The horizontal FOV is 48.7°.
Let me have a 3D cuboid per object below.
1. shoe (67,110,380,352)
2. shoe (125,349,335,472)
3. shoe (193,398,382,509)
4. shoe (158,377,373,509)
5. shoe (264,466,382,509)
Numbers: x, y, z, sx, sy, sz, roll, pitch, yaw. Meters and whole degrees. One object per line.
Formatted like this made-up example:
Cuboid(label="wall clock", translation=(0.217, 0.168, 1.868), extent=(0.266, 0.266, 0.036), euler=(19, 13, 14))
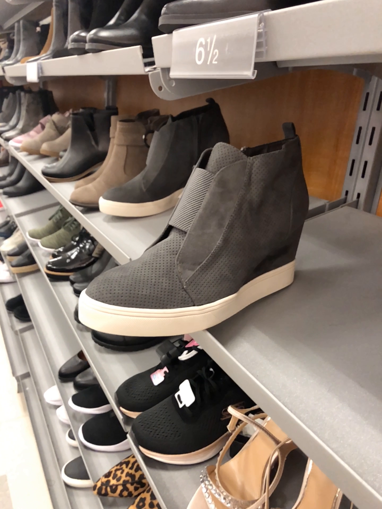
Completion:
Cuboid(label="shoe", translation=(0.032, -0.033, 0.411), extent=(0.273, 0.173, 0.104), euler=(-4, 21, -30))
Cuboid(label="shoe", translation=(0.053, 0.214, 0.611), extent=(0.277, 0.065, 0.110), euler=(-4, 21, -19))
Cuboid(label="shoe", translation=(0.128, 0.262, 0.451), extent=(0.248, 0.089, 0.084), euler=(-15, 27, -32))
Cuboid(label="shoe", translation=(0.092, 0.242, 0.511), extent=(0.250, 0.085, 0.084), euler=(-9, 23, -26))
Cuboid(label="shoe", translation=(0.214, 0.309, 0.388), extent=(0.278, 0.068, 0.104), euler=(-10, 23, -23))
